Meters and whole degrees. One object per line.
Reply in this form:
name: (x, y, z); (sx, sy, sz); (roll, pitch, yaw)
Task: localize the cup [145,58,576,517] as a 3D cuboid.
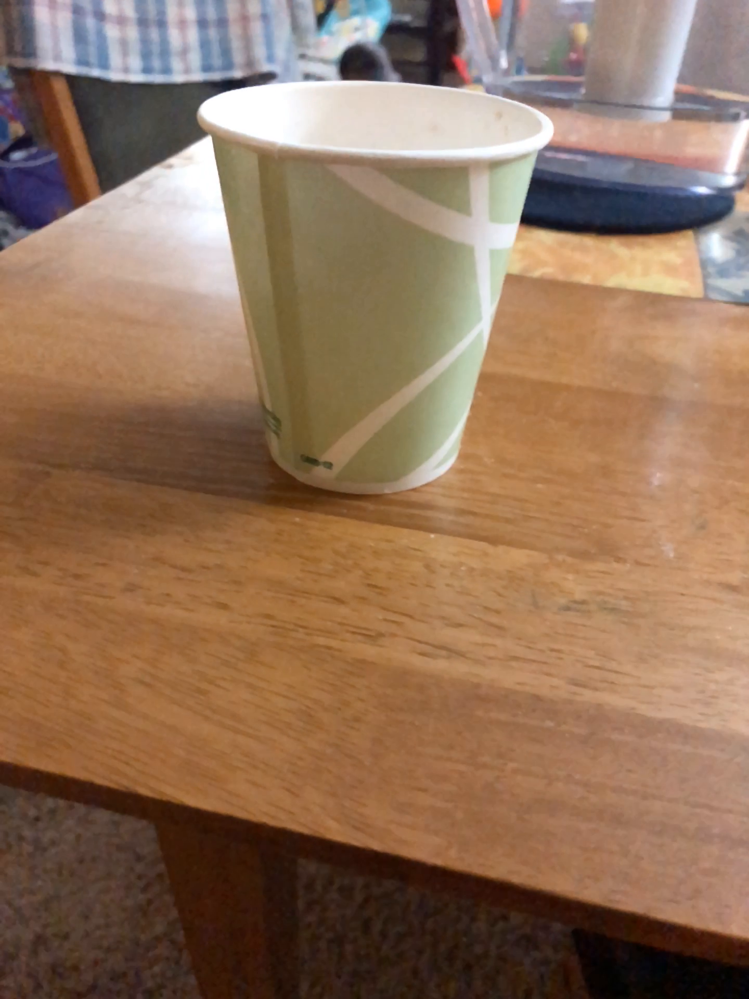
cup: (0.003, -0.067, 0.242); (0.090, 0.090, 0.100); (9, 36, 9)
